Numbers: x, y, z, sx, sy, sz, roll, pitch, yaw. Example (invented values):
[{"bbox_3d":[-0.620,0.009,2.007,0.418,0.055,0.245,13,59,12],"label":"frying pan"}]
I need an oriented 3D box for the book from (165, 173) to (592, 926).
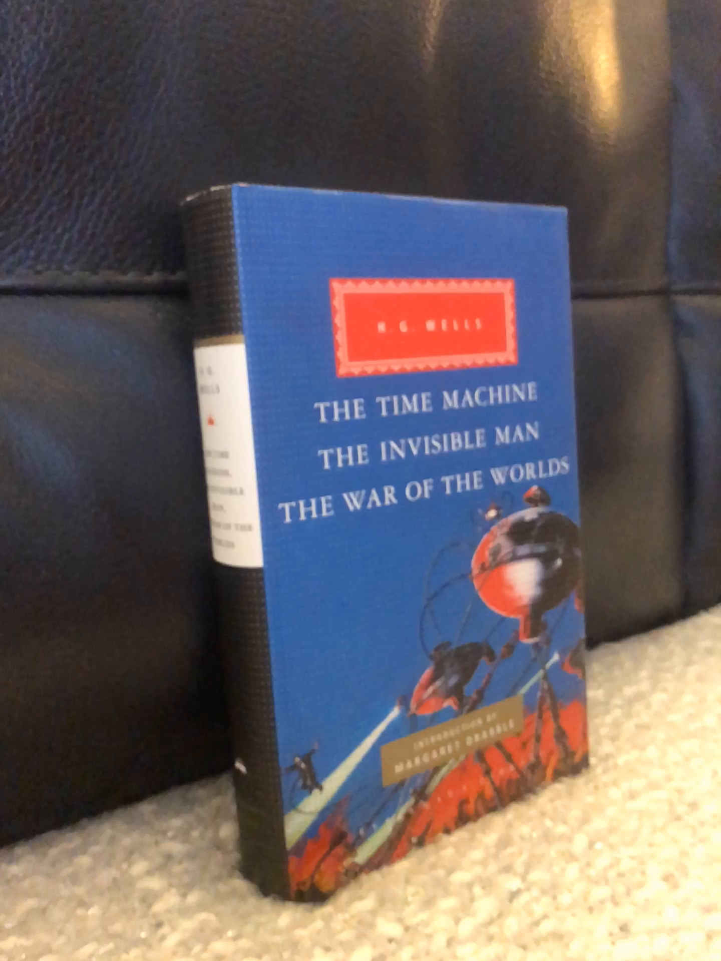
[{"bbox_3d":[0.018,0.015,0.293,0.148,0.226,0.034,-9,9,-35],"label":"book"}]
